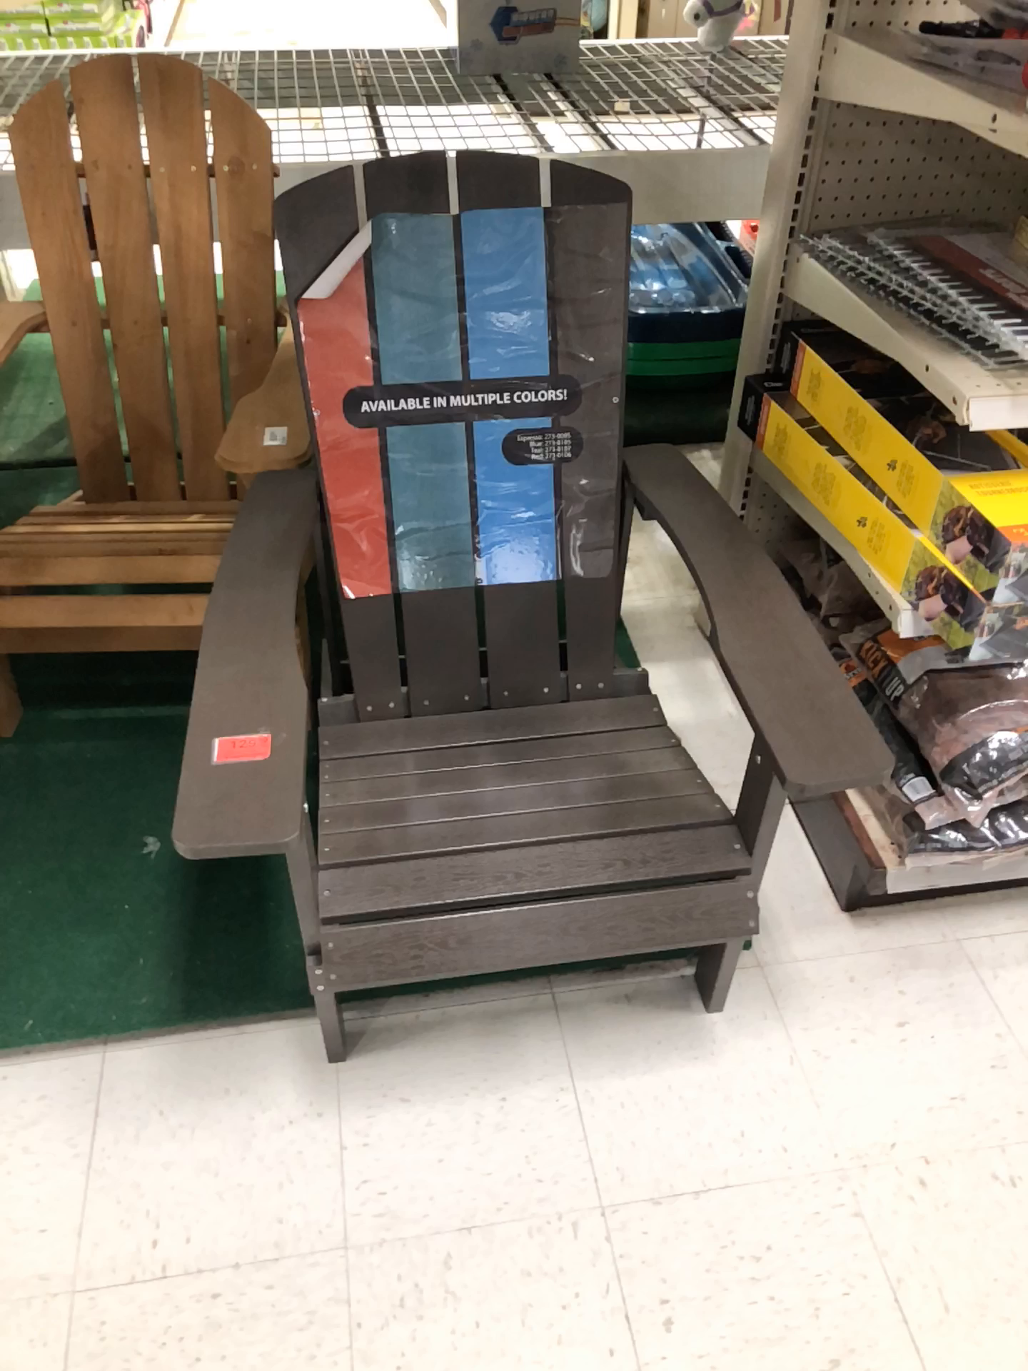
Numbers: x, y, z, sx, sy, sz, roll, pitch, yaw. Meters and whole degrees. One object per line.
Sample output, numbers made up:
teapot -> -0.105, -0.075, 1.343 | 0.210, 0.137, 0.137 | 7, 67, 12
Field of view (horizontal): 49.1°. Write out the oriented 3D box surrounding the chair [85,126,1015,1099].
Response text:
chair -> -0.033, -0.151, 1.461 | 0.717, 0.816, 0.919 | -5, 41, -8

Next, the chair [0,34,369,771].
chair -> -0.610, -0.514, 1.893 | 0.637, 0.846, 0.980 | -2, 40, -3
